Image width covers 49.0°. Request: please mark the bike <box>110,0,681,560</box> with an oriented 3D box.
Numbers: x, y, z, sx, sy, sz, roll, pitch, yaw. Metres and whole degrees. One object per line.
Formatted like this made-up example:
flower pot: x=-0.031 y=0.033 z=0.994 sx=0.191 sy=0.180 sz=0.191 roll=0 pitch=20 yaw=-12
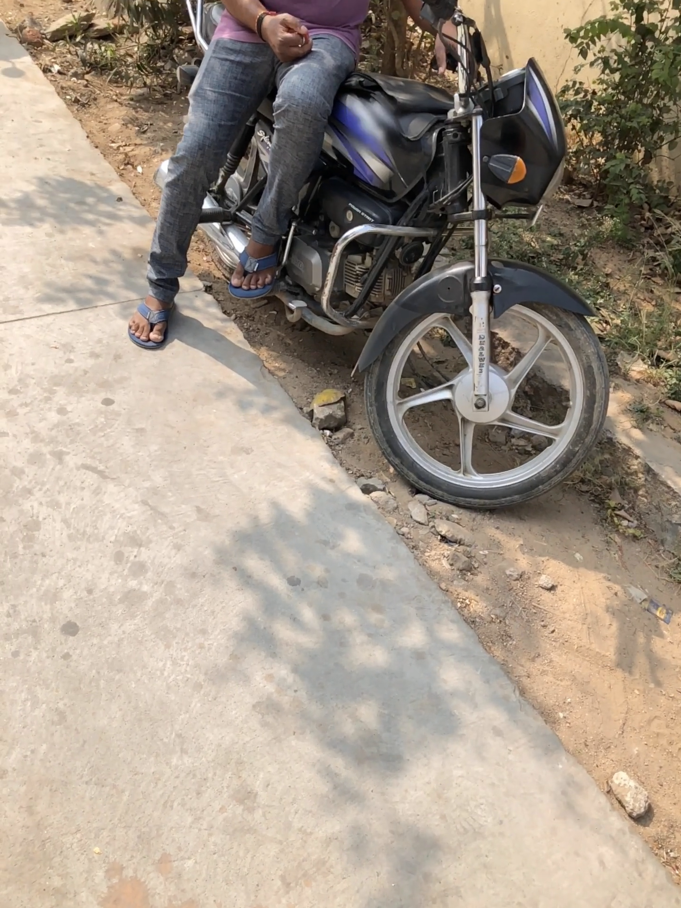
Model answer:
bike: x=0.150 y=-0.776 z=2.166 sx=0.774 sy=1.293 sz=1.760 roll=-22 pitch=48 yaw=-35
